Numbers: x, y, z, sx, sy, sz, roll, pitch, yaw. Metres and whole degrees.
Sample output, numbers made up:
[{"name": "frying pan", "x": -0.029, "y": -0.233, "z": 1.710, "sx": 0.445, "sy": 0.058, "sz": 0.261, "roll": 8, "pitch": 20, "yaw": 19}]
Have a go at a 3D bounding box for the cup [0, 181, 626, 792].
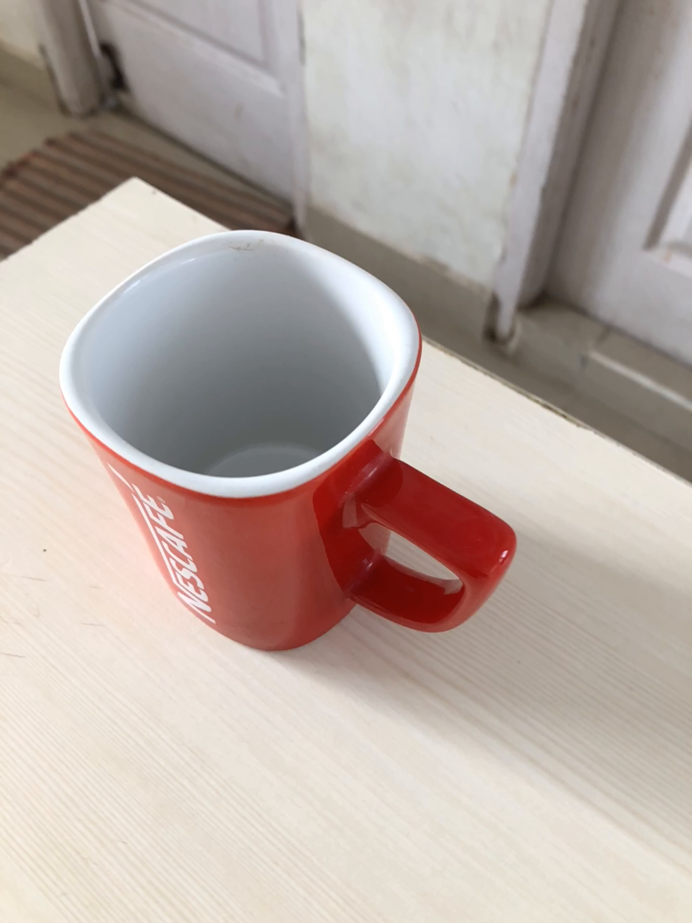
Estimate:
[{"name": "cup", "x": -0.009, "y": 0.006, "z": 0.200, "sx": 0.110, "sy": 0.089, "sz": 0.080, "roll": 30, "pitch": 60, "yaw": 20}]
